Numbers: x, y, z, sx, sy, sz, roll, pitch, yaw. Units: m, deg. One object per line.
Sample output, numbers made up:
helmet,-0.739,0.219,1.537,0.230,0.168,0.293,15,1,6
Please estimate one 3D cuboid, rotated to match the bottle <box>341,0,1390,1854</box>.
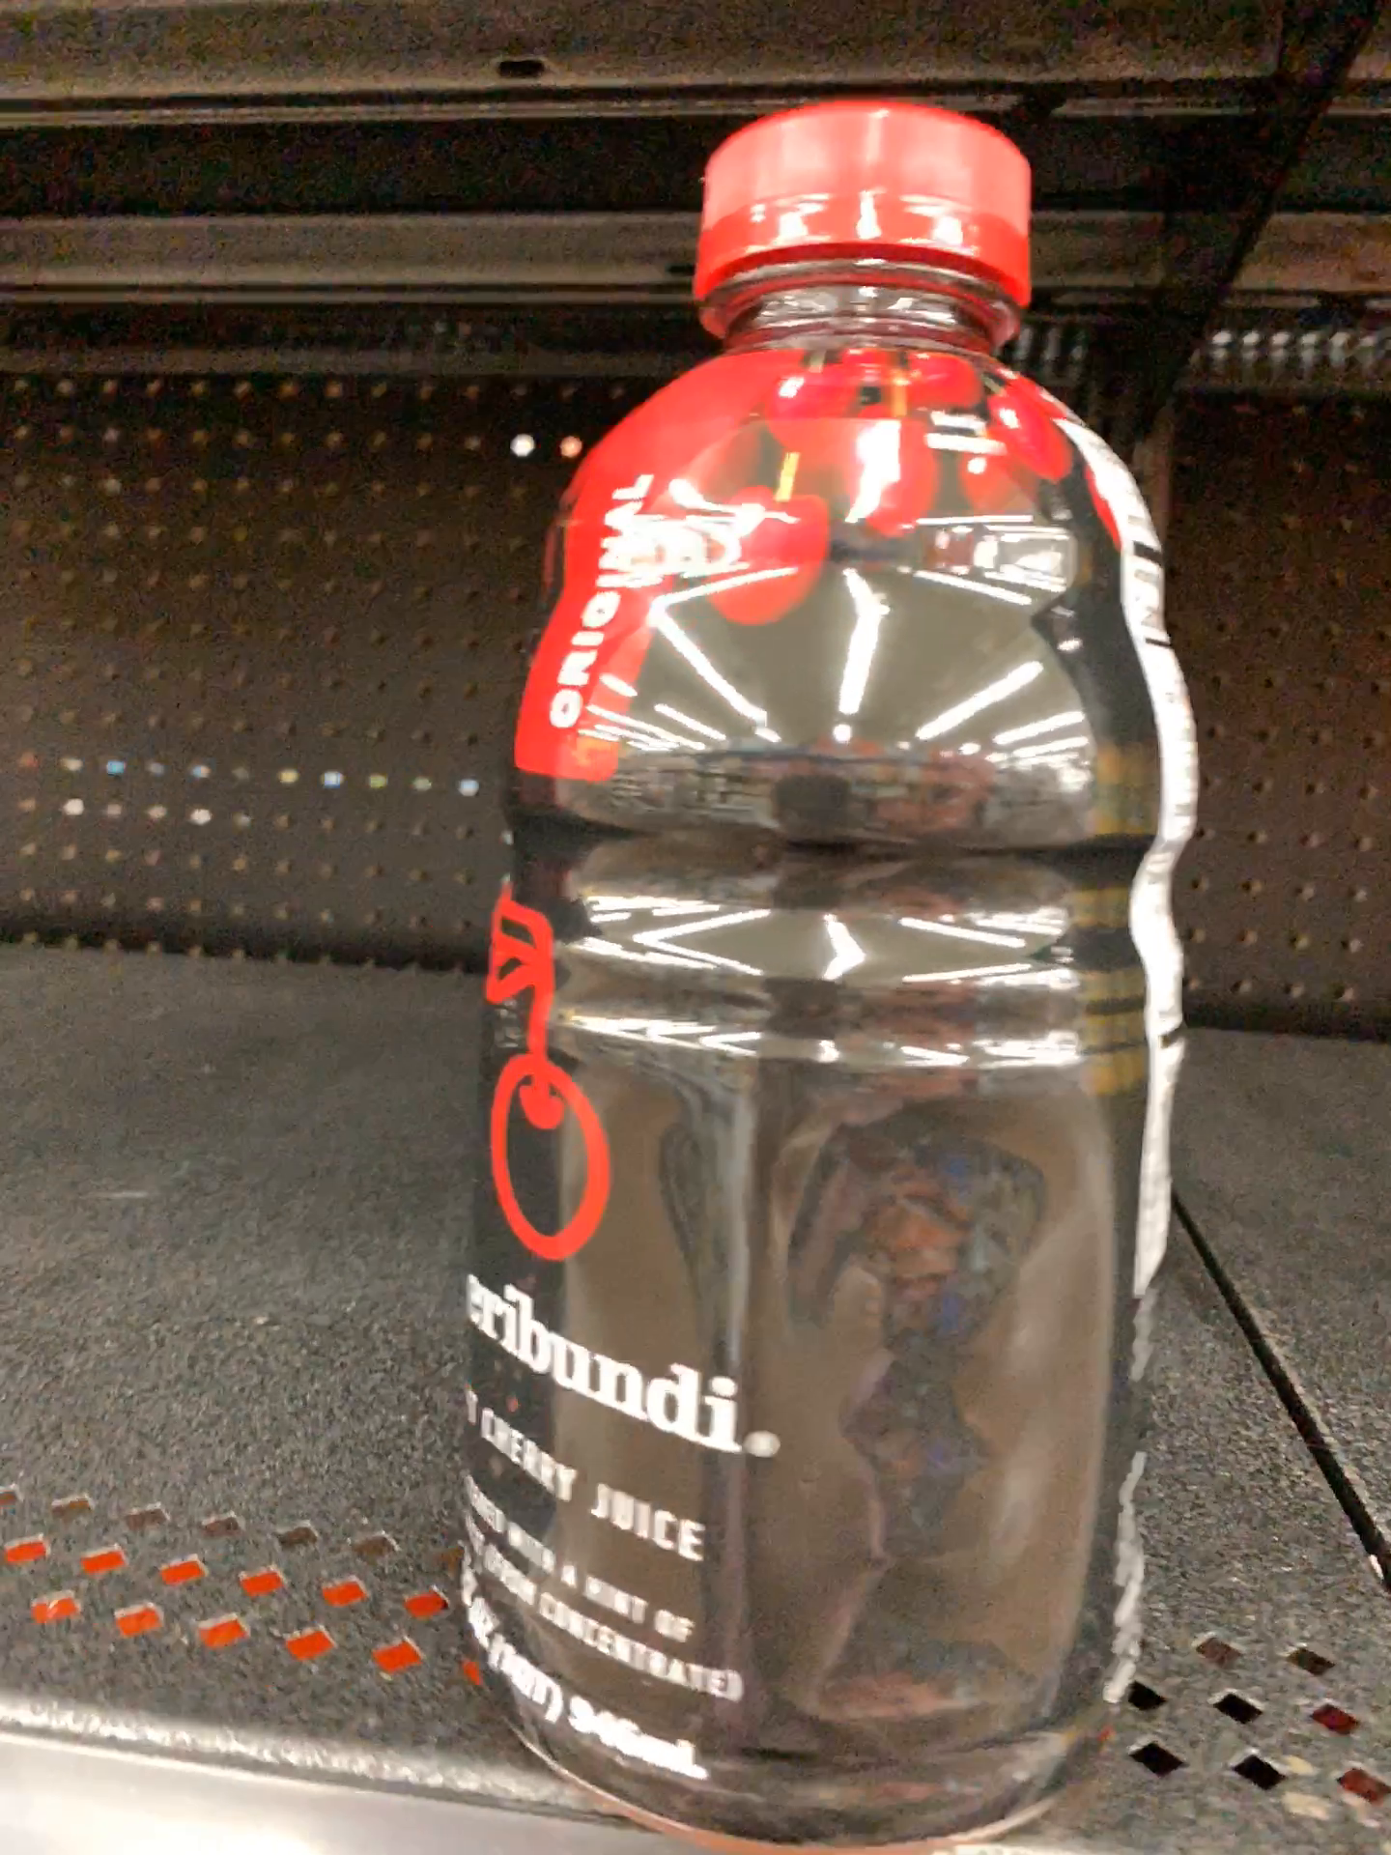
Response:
bottle,0.018,0.005,0.188,0.090,0.205,0.095,3,8,0
